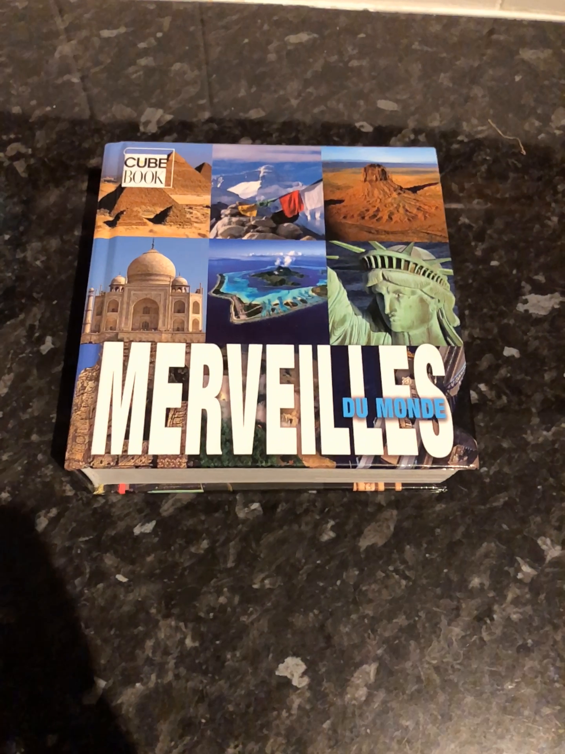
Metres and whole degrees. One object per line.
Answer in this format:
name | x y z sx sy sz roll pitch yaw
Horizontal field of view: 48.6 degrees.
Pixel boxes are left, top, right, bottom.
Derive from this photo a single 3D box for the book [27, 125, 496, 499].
book | -0.009 -0.032 0.287 0.170 0.060 0.161 0 66 -2
